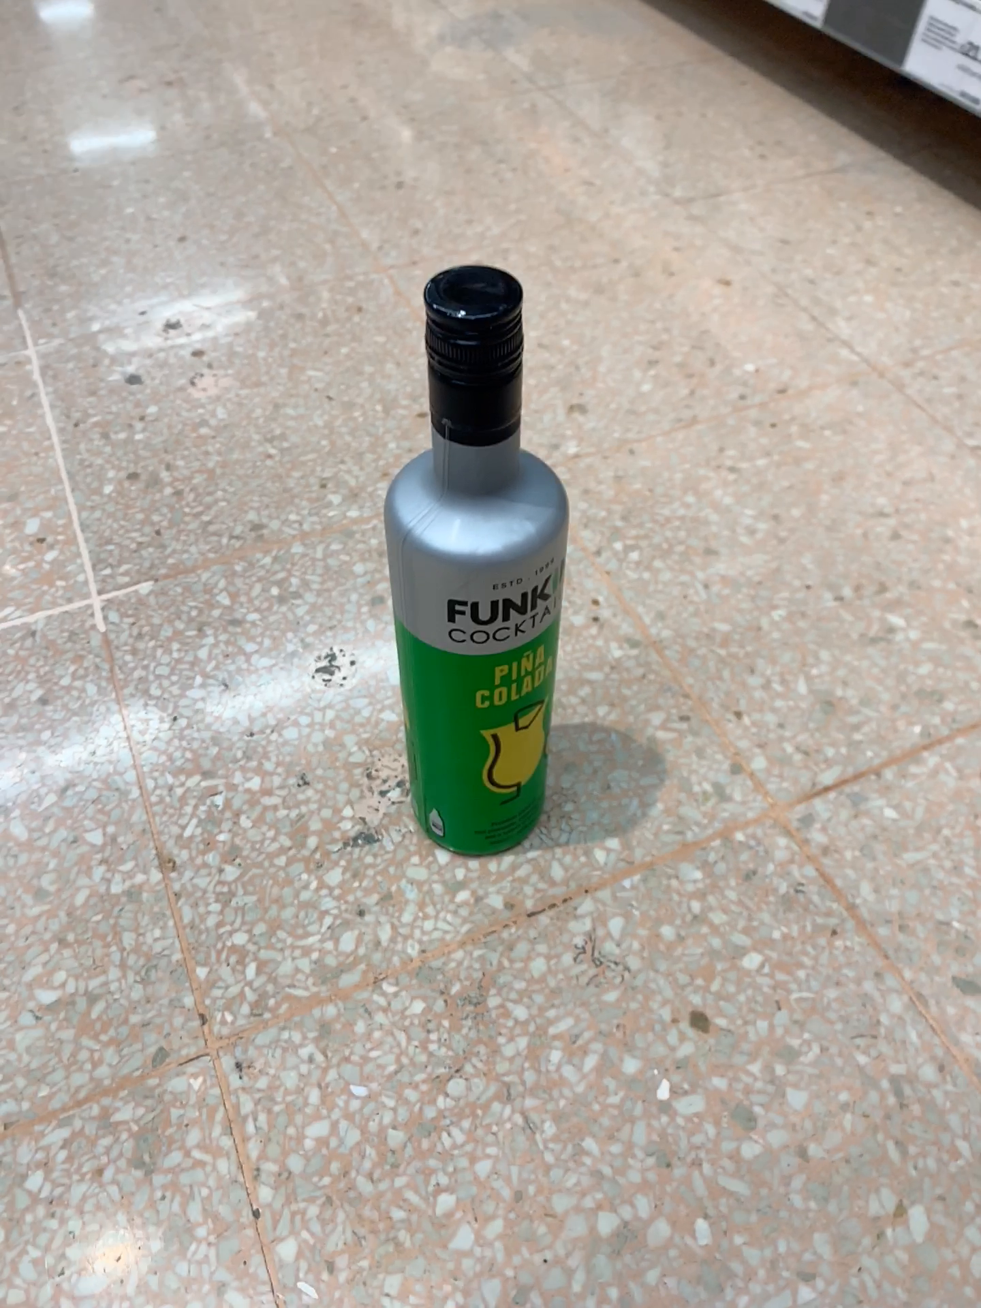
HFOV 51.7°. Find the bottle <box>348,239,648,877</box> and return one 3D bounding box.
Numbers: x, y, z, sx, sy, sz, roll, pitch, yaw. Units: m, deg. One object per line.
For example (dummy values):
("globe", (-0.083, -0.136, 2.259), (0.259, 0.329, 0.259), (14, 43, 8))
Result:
("bottle", (0.001, -0.016, 0.429), (0.073, 0.284, 0.067), (0, 49, 0))
